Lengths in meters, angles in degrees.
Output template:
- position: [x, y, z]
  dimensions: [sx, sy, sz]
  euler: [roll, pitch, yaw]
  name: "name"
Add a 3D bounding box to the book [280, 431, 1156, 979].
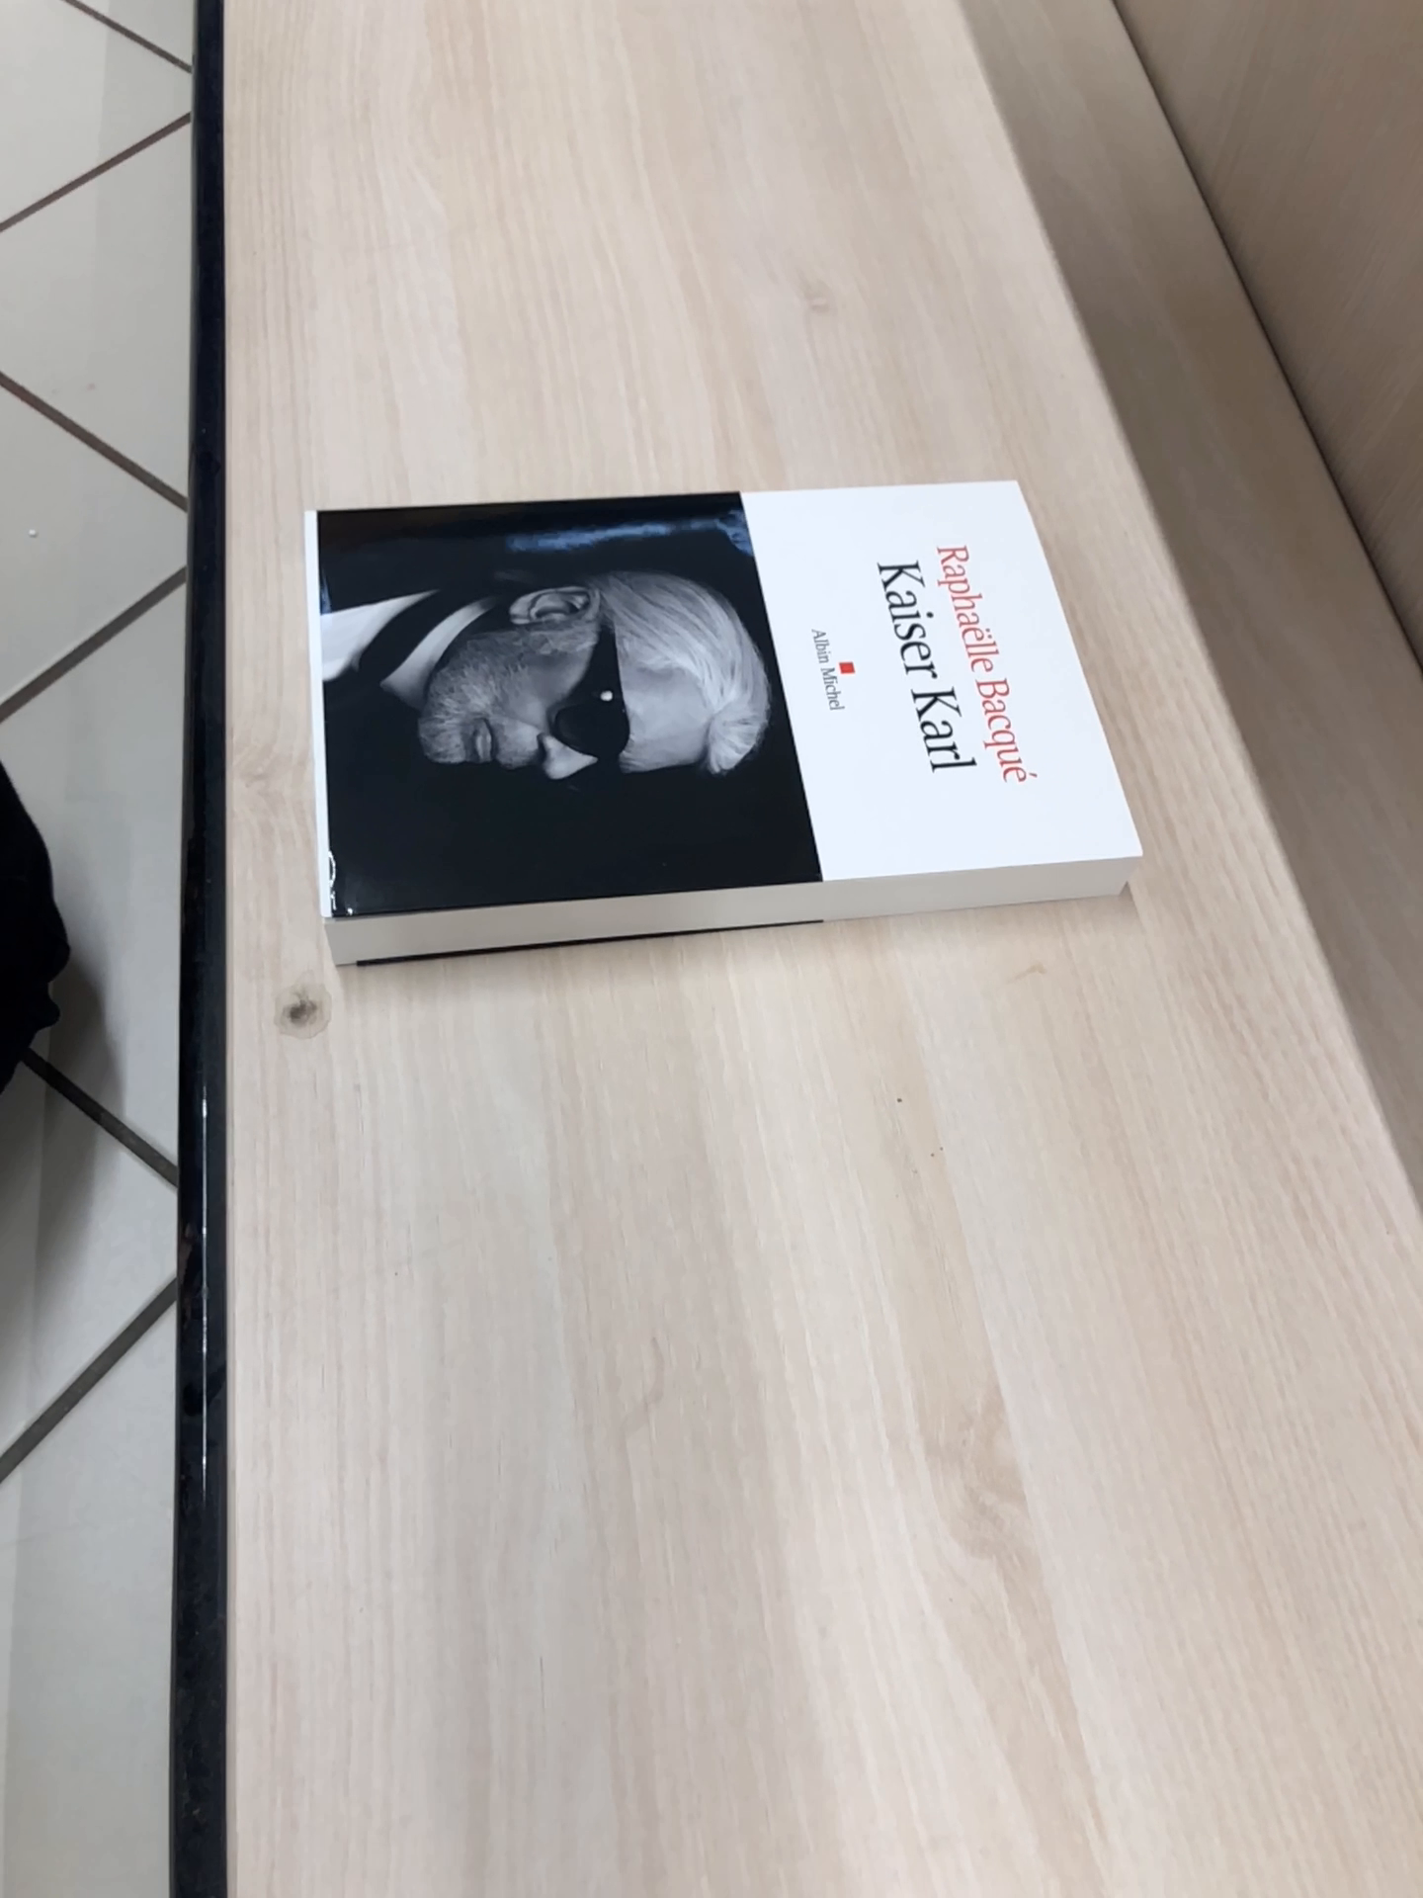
- position: [-0.004, -0.076, 0.443]
  dimensions: [0.220, 0.030, 0.150]
  euler: [-6, 63, -10]
  name: "book"
